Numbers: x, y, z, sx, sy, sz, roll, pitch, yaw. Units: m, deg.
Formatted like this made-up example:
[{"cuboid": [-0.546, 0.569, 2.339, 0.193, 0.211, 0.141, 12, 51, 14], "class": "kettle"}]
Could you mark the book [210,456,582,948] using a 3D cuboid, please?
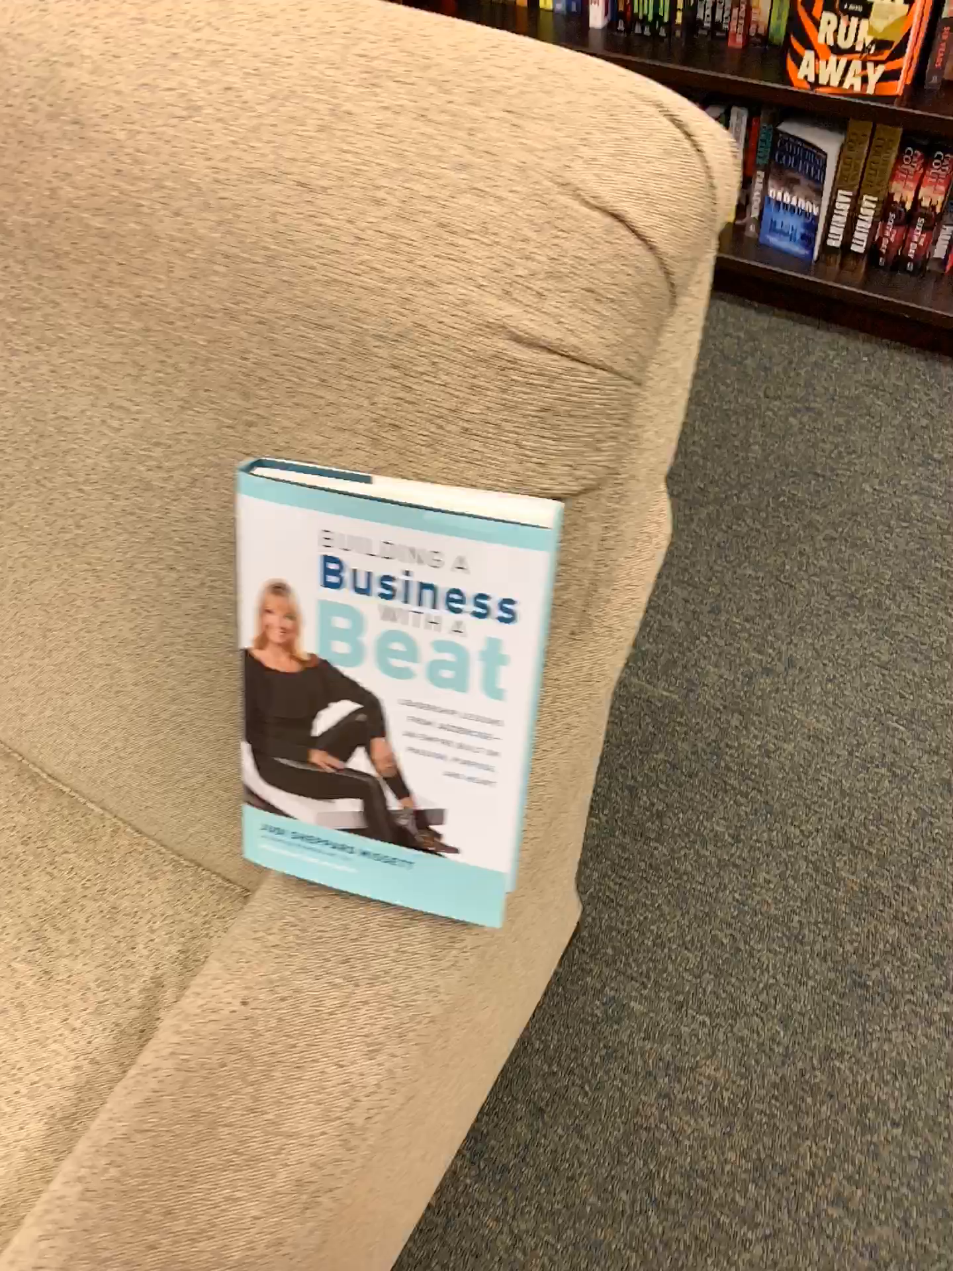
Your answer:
[{"cuboid": [-0.045, 0.037, 0.503, 0.170, 0.229, 0.040, 11, 27, 16], "class": "book"}]
